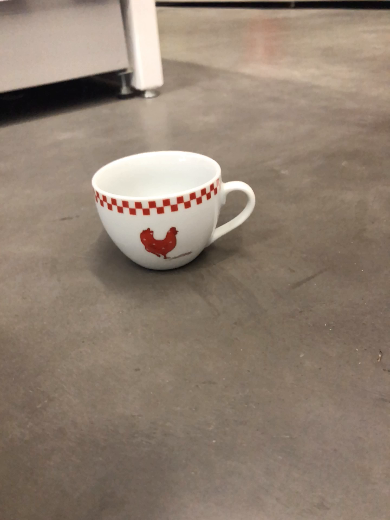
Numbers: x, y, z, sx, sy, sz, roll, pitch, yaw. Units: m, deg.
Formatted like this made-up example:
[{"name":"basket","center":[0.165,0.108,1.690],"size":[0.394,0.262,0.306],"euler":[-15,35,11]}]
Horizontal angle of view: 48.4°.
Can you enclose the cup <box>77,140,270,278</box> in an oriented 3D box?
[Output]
[{"name":"cup","center":[-0.010,-0.039,0.301],"size":[0.111,0.058,0.089],"euler":[-3,30,3]}]
